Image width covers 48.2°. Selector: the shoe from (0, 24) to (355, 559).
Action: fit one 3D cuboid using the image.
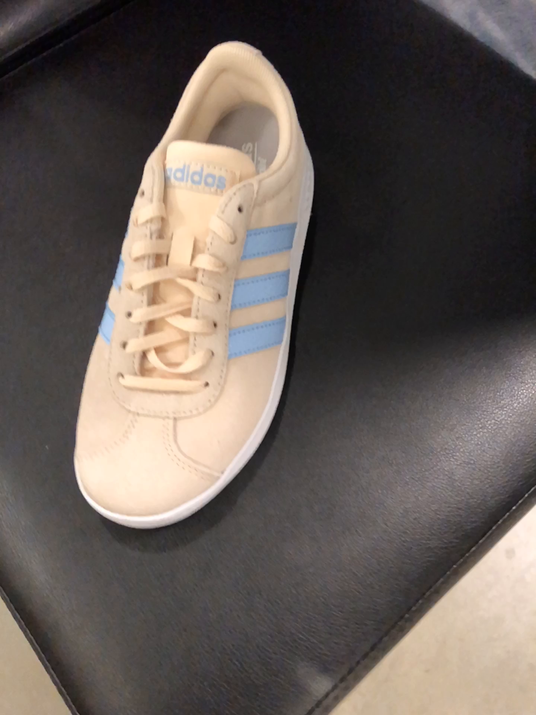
[{"bbox_3d":[-0.031,-0.042,0.318,0.100,0.090,0.260,12,67,7],"label":"shoe"}]
